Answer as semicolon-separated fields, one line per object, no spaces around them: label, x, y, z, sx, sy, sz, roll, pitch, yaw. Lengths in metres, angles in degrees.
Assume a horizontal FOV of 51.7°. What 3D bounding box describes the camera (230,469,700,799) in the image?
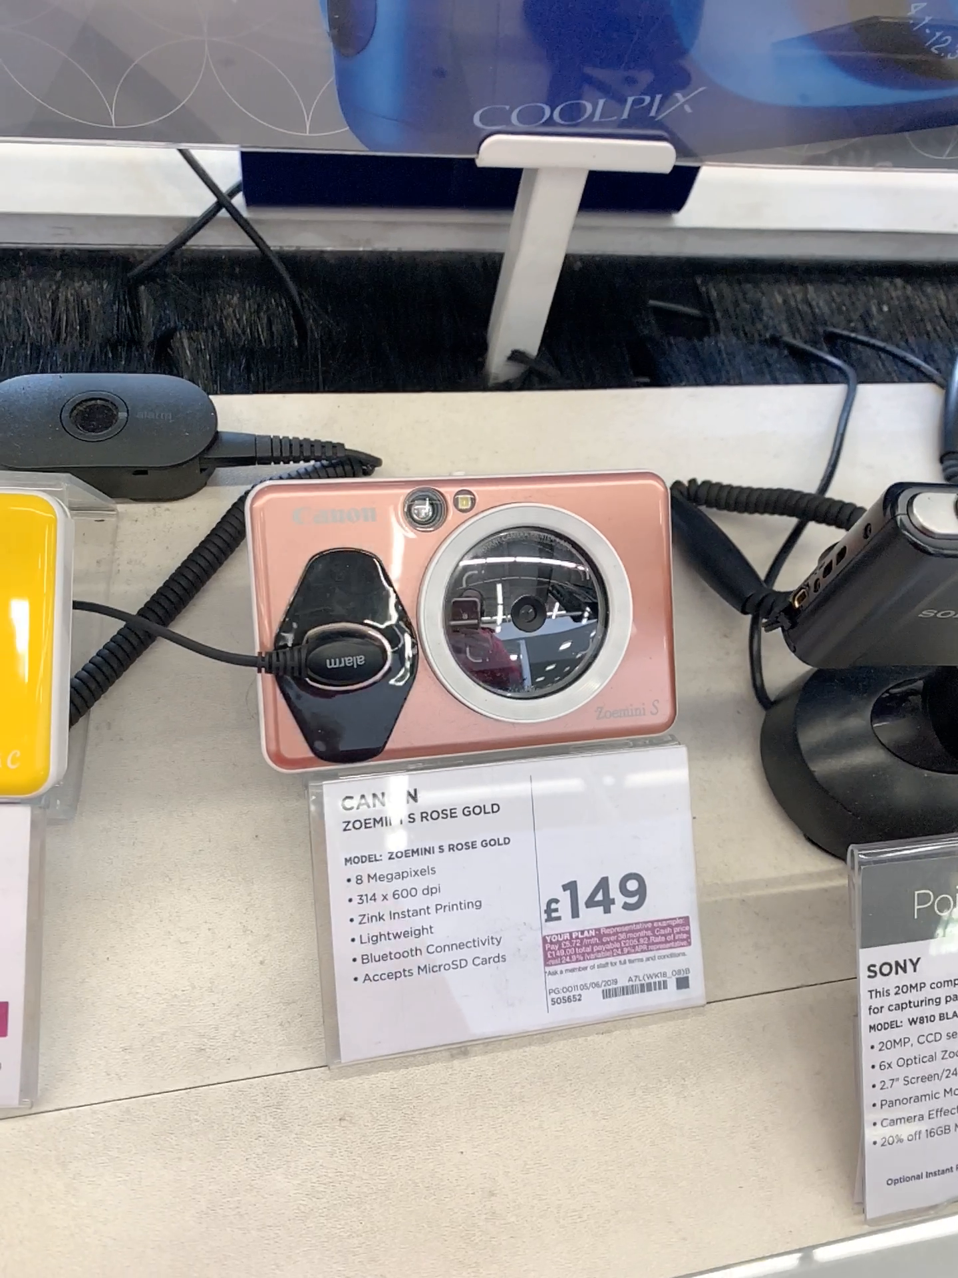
camera;-0.002;-0.004;0.283;0.129;0.020;0.083;-4;93;-13
